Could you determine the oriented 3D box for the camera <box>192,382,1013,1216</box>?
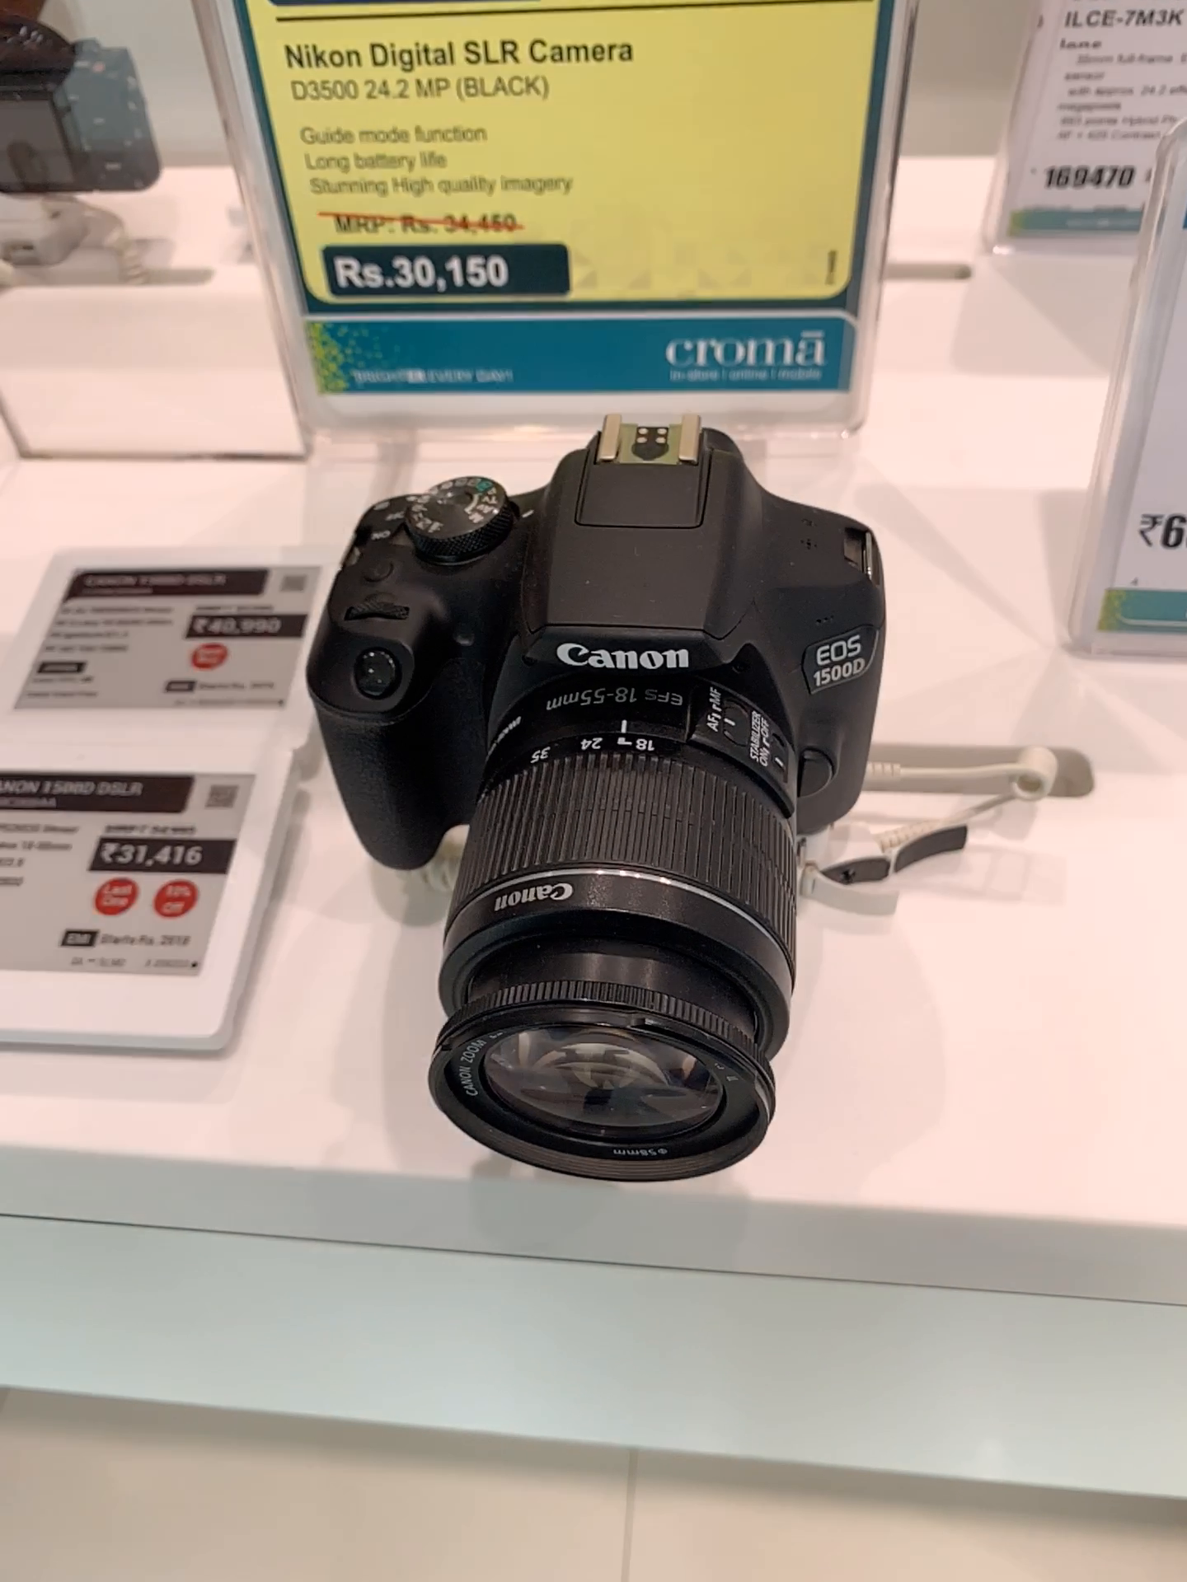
[{"bbox_3d":[0.009,-0.004,0.241,0.110,0.090,0.130,3,48,7],"label":"camera"}]
